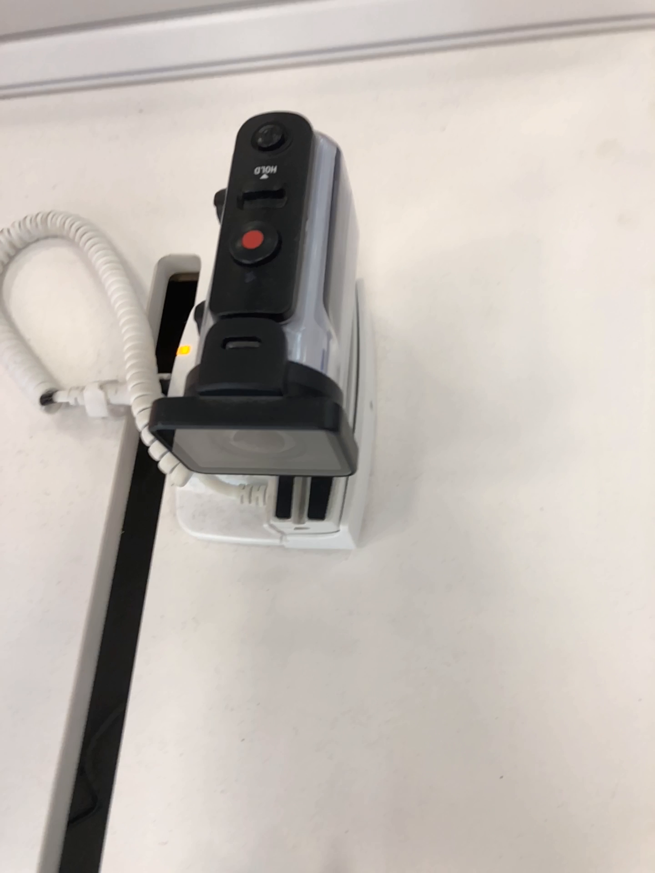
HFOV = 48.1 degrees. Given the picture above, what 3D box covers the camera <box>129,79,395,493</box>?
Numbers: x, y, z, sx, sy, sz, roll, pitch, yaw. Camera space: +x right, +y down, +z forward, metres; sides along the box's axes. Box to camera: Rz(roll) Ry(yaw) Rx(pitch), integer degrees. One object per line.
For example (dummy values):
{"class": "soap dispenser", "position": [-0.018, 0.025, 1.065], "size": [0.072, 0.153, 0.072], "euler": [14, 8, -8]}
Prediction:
{"class": "camera", "position": [-0.011, -0.037, 0.201], "size": [0.050, 0.060, 0.090], "euler": [-1, 67, 12]}
